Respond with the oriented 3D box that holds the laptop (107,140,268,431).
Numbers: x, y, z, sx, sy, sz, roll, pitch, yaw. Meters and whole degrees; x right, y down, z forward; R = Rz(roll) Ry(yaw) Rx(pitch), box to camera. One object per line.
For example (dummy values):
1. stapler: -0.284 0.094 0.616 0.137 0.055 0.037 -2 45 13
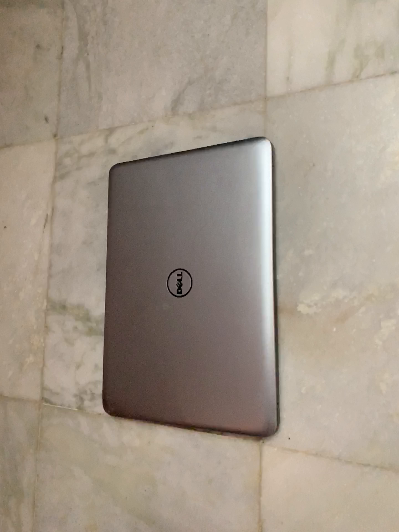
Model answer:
1. laptop: -0.025 0.023 0.542 0.235 0.001 0.351 -2 84 26
